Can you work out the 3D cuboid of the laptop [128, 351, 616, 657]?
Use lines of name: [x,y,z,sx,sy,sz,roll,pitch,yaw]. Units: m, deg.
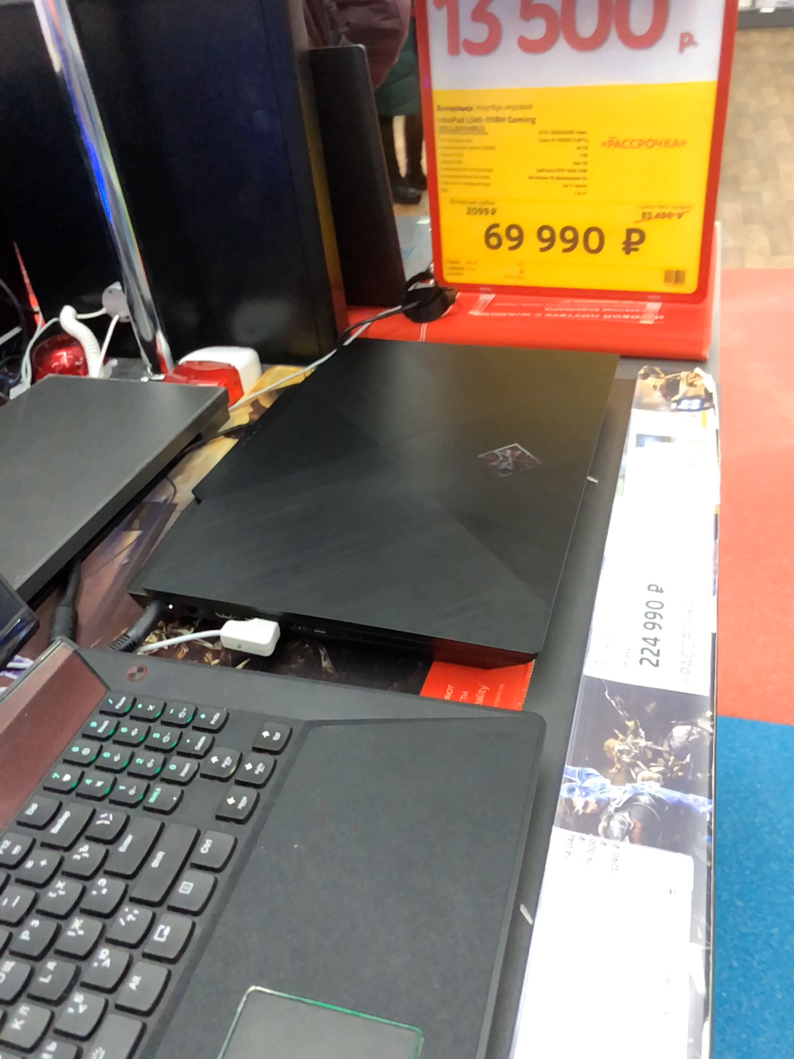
laptop: [0.014,-0.053,0.667,0.261,0.002,0.400,6,35,17]
